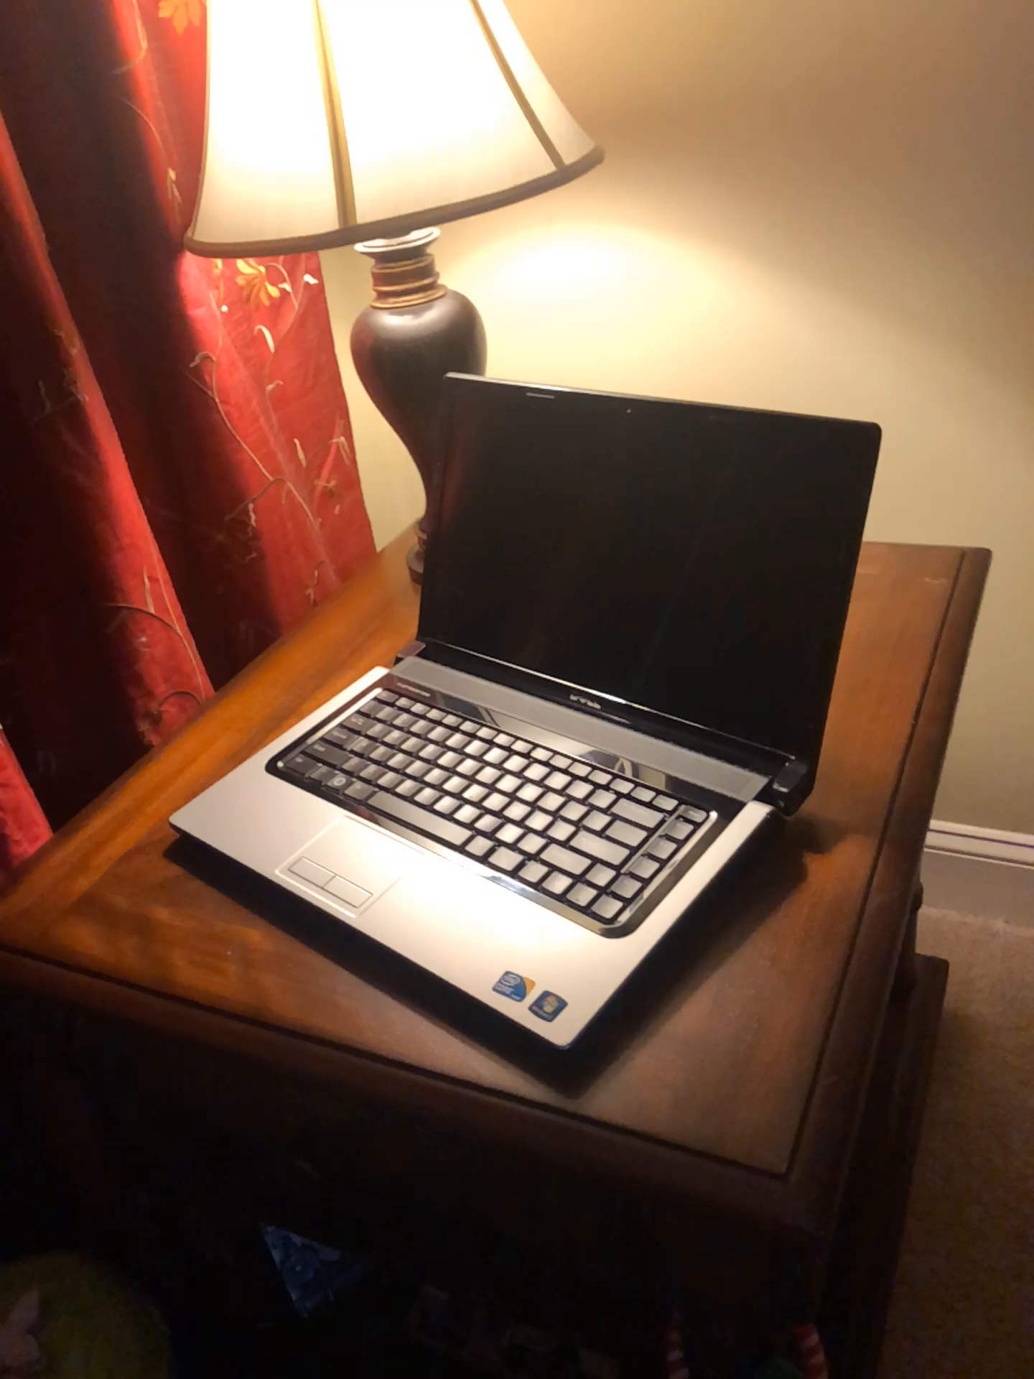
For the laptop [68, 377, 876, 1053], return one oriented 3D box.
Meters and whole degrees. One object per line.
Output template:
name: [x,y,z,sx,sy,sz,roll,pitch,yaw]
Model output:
laptop: [-0.014,-0.033,0.742,0.363,0.204,0.351,18,41,37]
